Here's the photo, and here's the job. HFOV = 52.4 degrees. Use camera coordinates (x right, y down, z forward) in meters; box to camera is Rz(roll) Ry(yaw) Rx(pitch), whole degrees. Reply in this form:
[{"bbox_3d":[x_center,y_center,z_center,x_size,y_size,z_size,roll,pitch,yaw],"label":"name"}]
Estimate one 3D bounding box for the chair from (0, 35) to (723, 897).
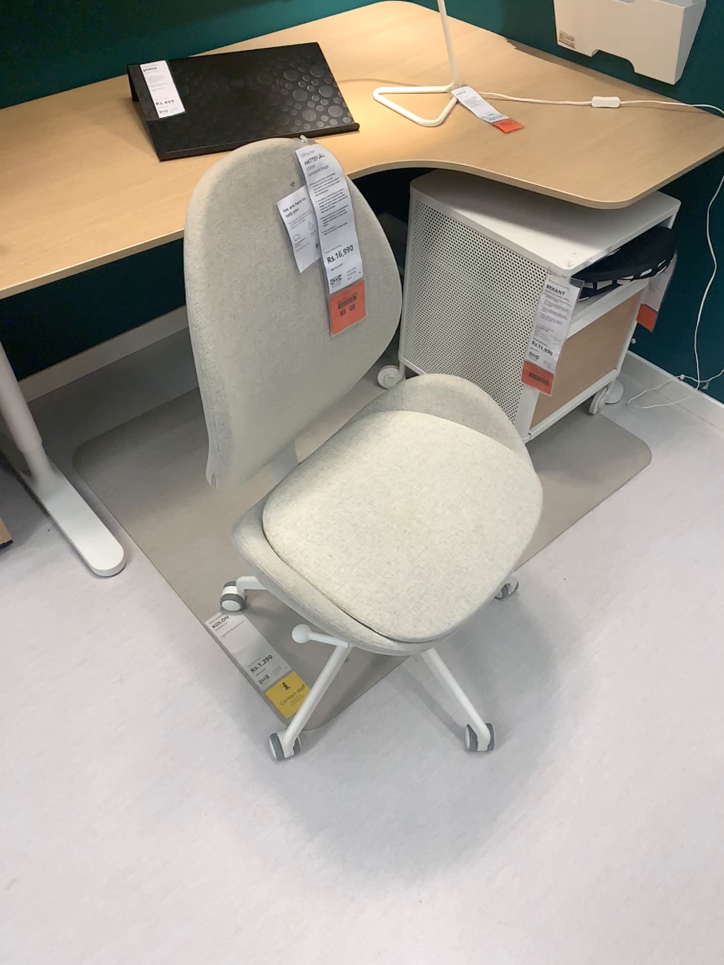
[{"bbox_3d":[0.014,0.019,1.138,0.641,0.997,0.631,30,54,23],"label":"chair"}]
